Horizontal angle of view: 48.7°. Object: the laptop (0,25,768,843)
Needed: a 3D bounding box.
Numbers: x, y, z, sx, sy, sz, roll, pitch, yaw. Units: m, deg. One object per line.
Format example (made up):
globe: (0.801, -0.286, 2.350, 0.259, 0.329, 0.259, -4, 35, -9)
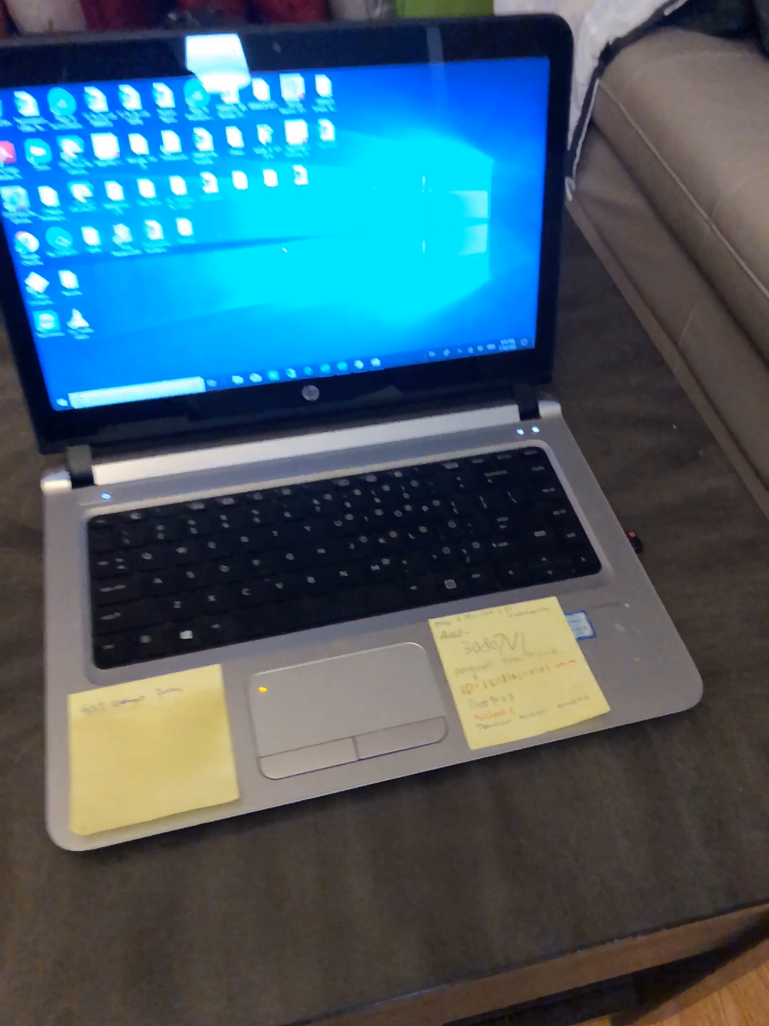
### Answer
laptop: (-0.023, -0.059, 0.424, 0.319, 0.208, 0.308, -9, 53, -11)
